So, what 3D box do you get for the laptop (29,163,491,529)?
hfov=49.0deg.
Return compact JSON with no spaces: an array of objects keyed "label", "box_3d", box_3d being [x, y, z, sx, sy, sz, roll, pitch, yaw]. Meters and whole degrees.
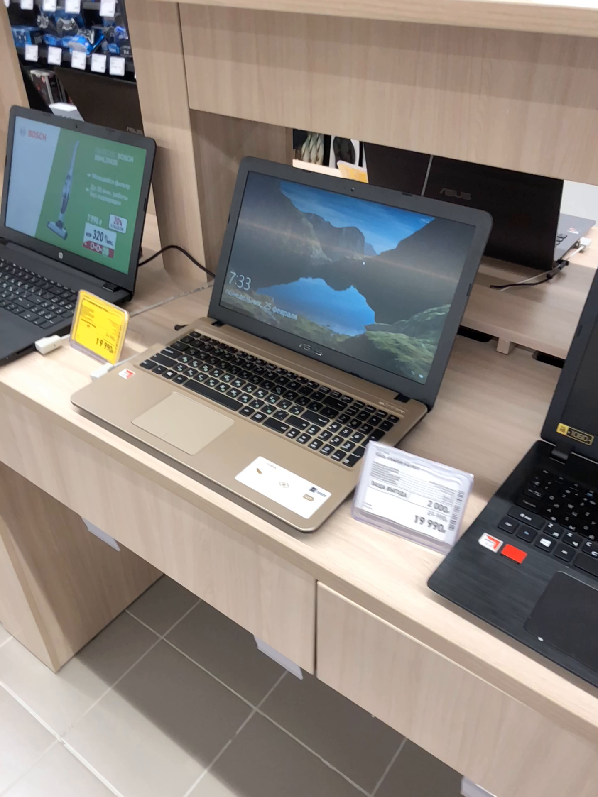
[{"label":"laptop","box_3d":[-0.035,-0.102,0.794,0.367,0.208,0.351,23,43,30]}]
